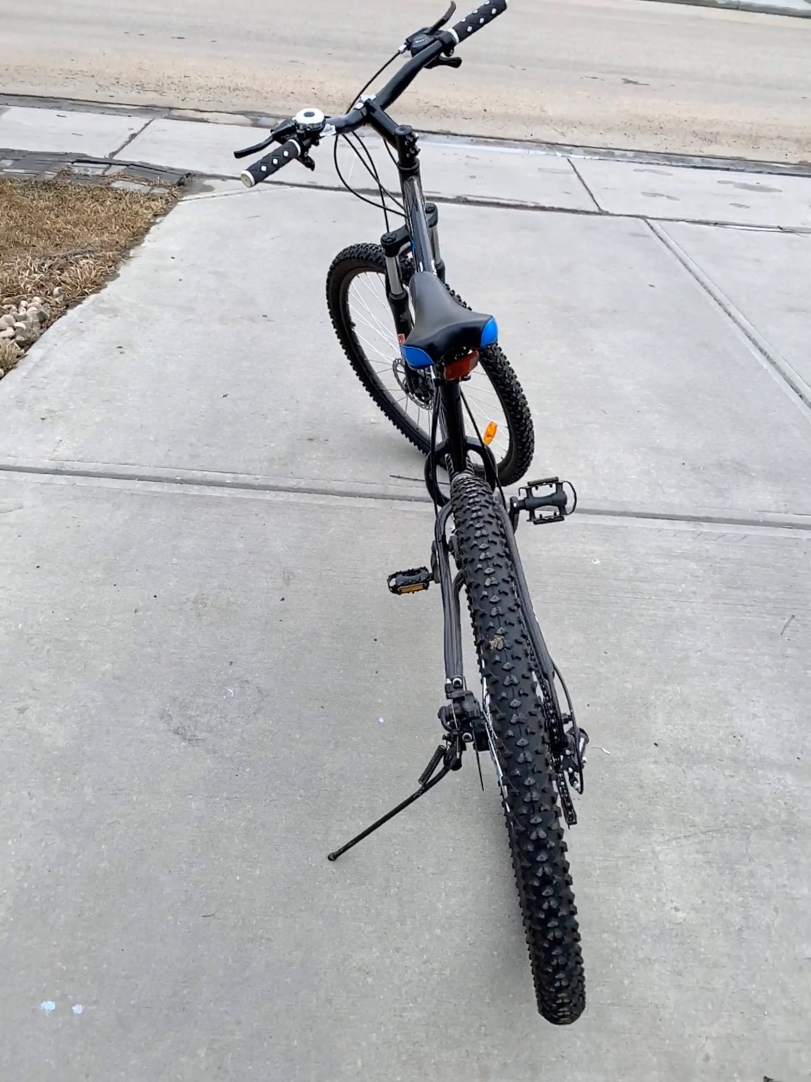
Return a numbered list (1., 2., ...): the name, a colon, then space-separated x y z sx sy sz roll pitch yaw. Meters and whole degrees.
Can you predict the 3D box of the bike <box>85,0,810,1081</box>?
1. bike: -0.069 -0.198 1.458 0.627 1.173 1.799 -4 40 -12
